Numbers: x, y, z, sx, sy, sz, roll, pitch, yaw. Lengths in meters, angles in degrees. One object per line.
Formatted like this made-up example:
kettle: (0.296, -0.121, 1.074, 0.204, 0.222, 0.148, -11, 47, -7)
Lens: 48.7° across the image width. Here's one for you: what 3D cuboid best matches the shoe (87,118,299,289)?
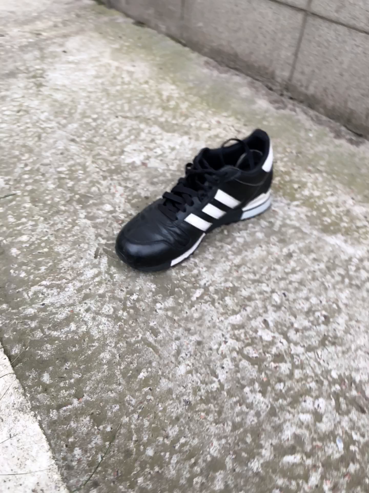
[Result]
shoe: (0.018, -0.073, 0.580, 0.281, 0.119, 0.100, -27, 52, -29)
